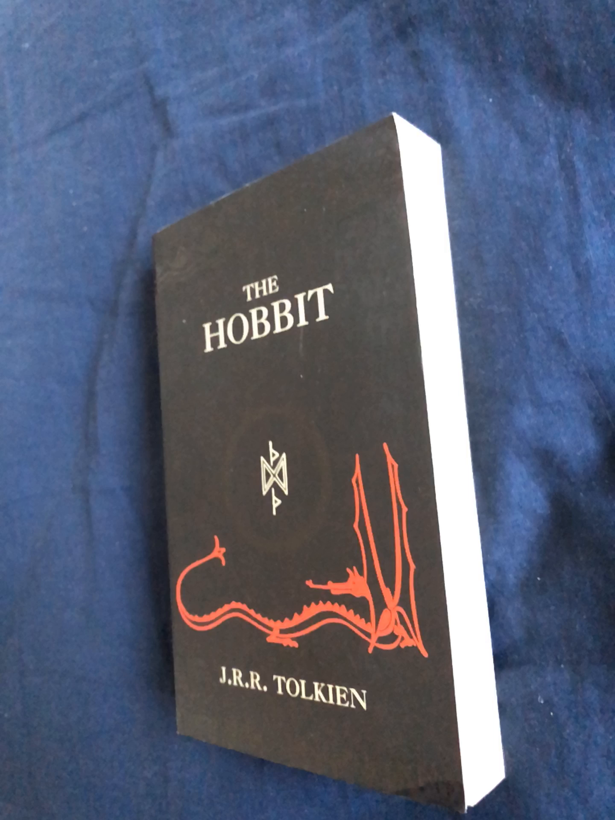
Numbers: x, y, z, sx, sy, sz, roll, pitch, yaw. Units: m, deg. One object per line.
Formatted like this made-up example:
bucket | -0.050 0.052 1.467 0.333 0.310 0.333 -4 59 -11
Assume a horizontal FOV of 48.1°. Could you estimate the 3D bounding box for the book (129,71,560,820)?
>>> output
book | 0.001 0.014 0.211 0.121 0.040 0.180 -10 81 40
